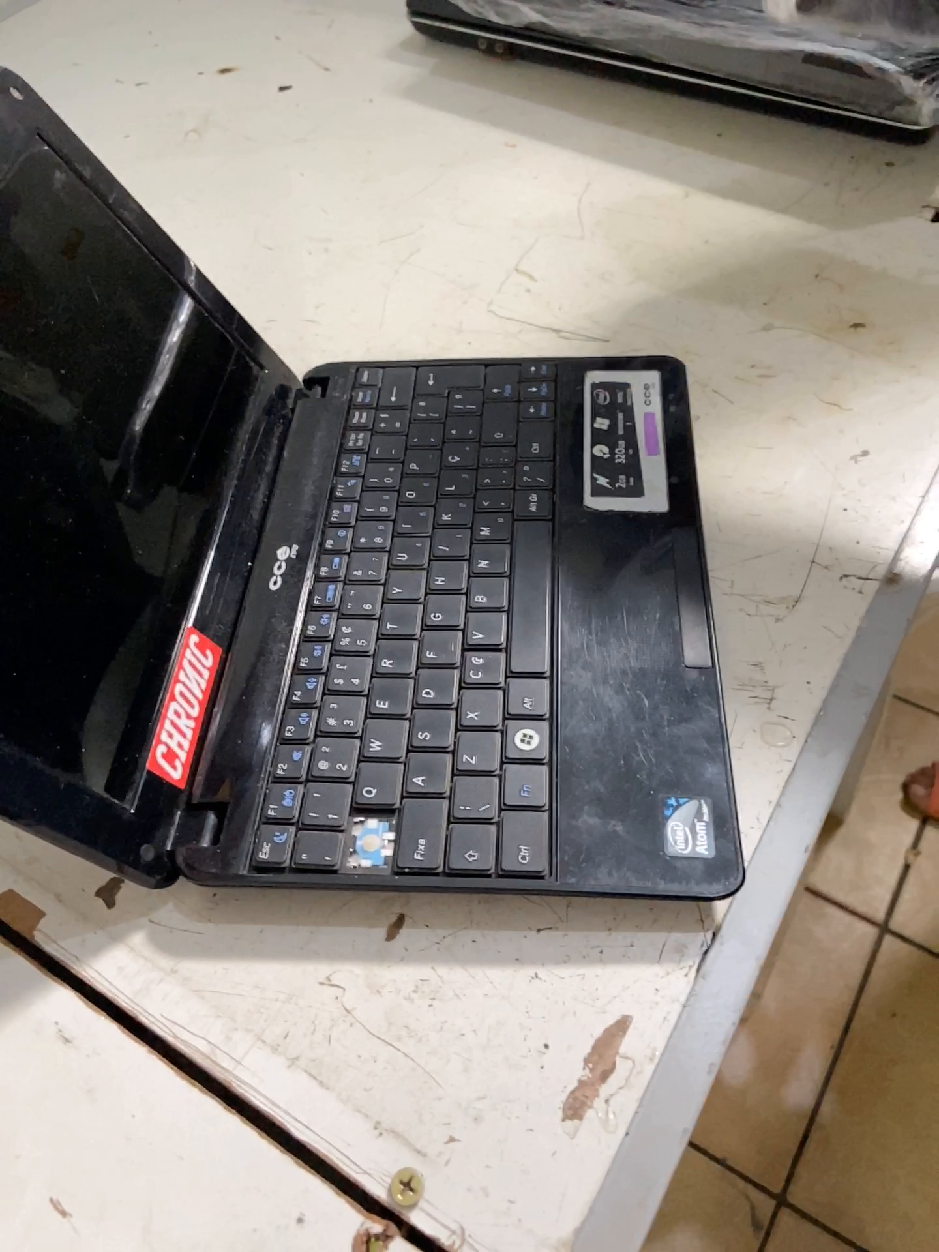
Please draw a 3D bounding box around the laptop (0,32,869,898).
[{"bbox_3d":[-0.042,-0.063,0.322,0.257,0.137,0.254,0,52,5],"label":"laptop"}]
